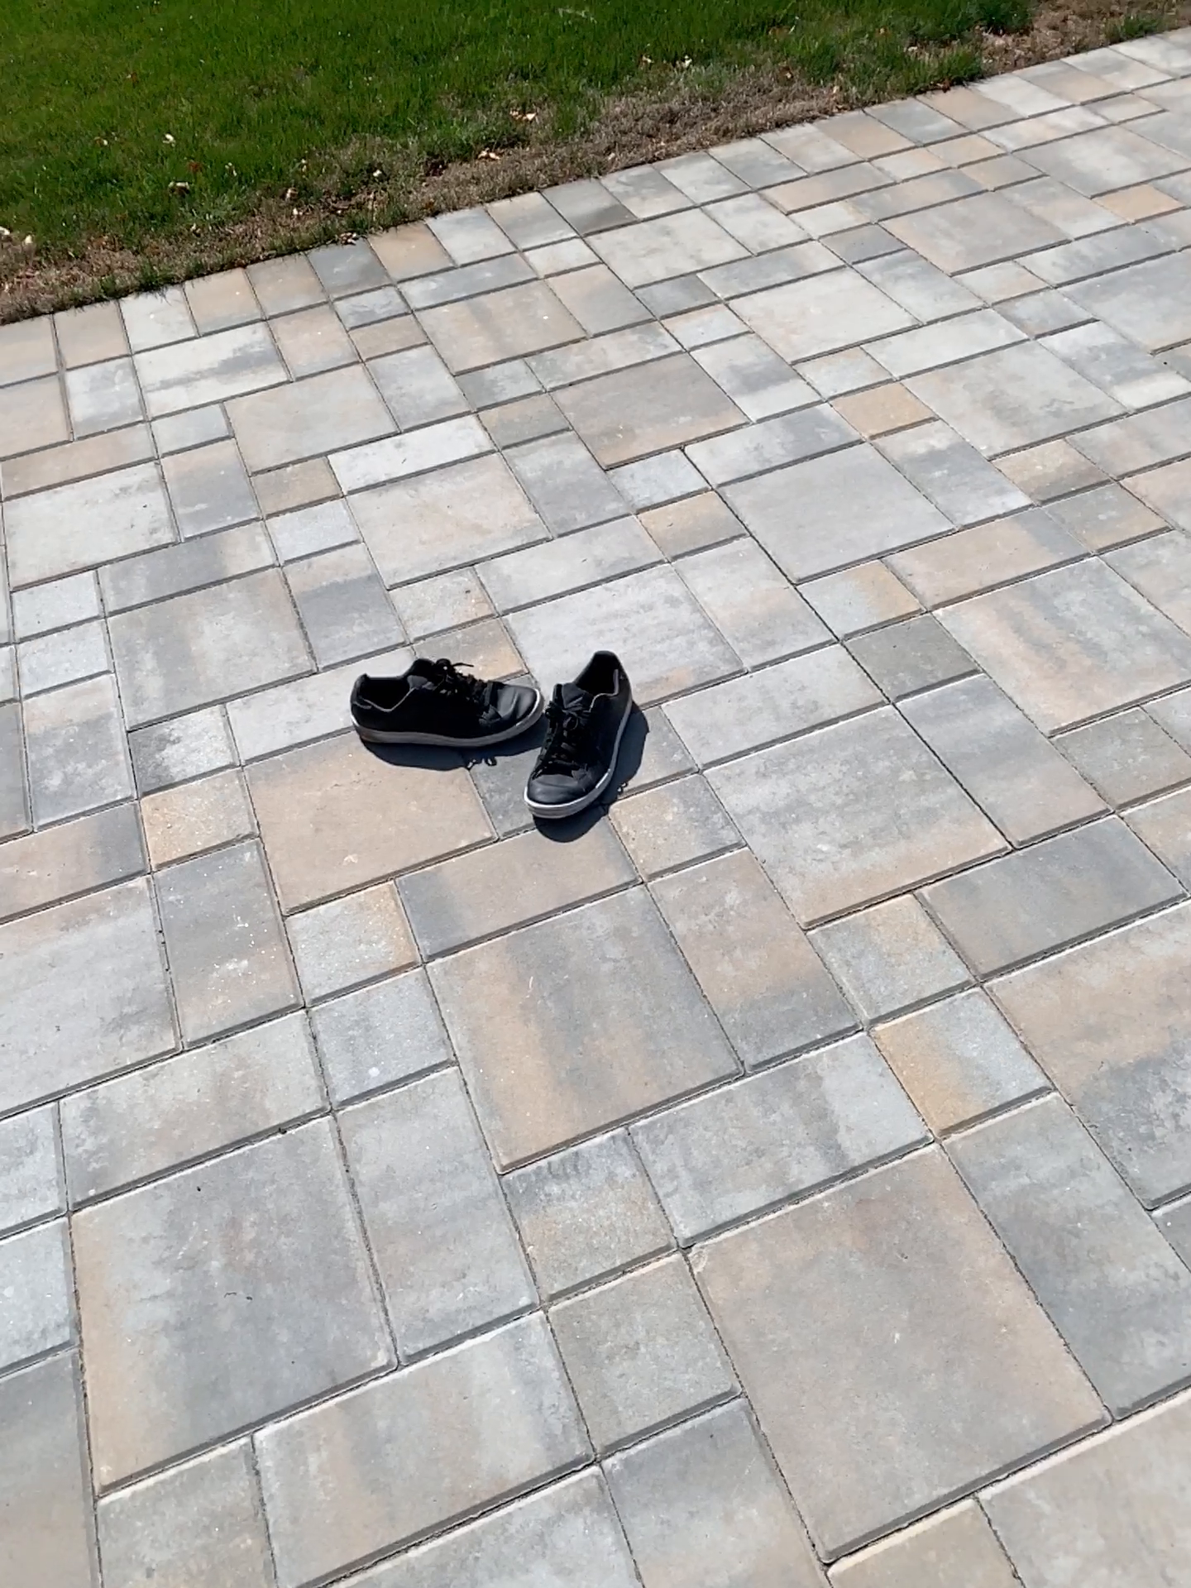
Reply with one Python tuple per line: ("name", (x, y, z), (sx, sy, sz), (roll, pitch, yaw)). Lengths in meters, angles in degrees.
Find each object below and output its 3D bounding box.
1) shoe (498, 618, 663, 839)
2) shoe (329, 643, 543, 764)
("shoe", (-0.012, -0.090, 1.557), (0.110, 0.100, 0.281), (13, 50, 17))
("shoe", (-0.207, -0.121, 1.616), (0.250, 0.110, 0.110), (2, 48, 8))
